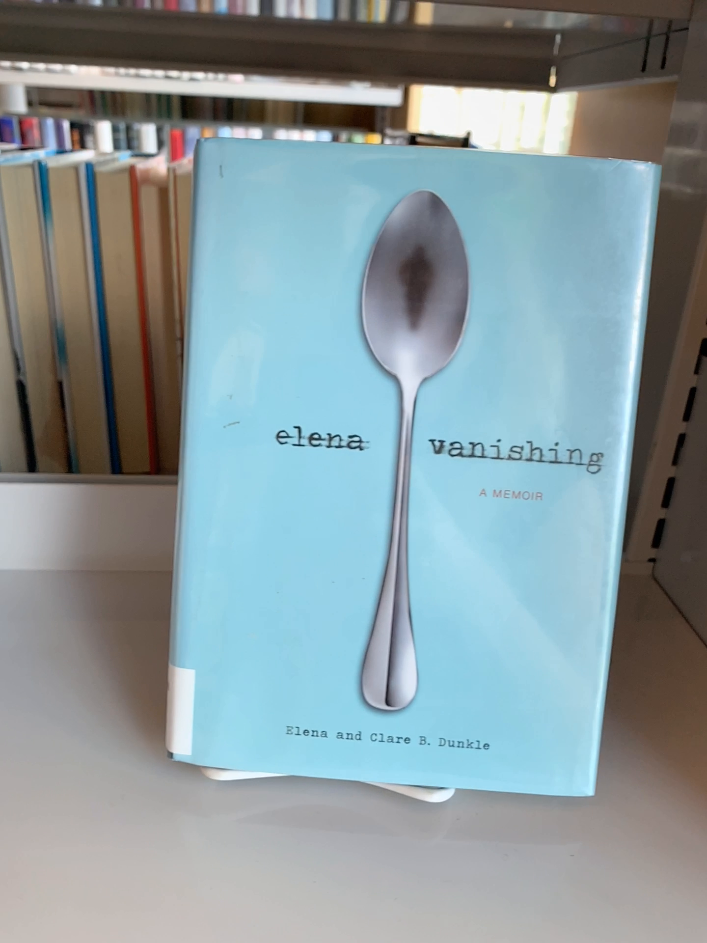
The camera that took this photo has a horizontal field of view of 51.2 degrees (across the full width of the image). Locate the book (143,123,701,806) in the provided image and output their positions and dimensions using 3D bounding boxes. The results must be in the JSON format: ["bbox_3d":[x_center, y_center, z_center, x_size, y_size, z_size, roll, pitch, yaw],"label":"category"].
[{"bbox_3d":[0.016,0.000,0.247,0.159,0.204,0.035,4,7,2],"label":"book"}]
